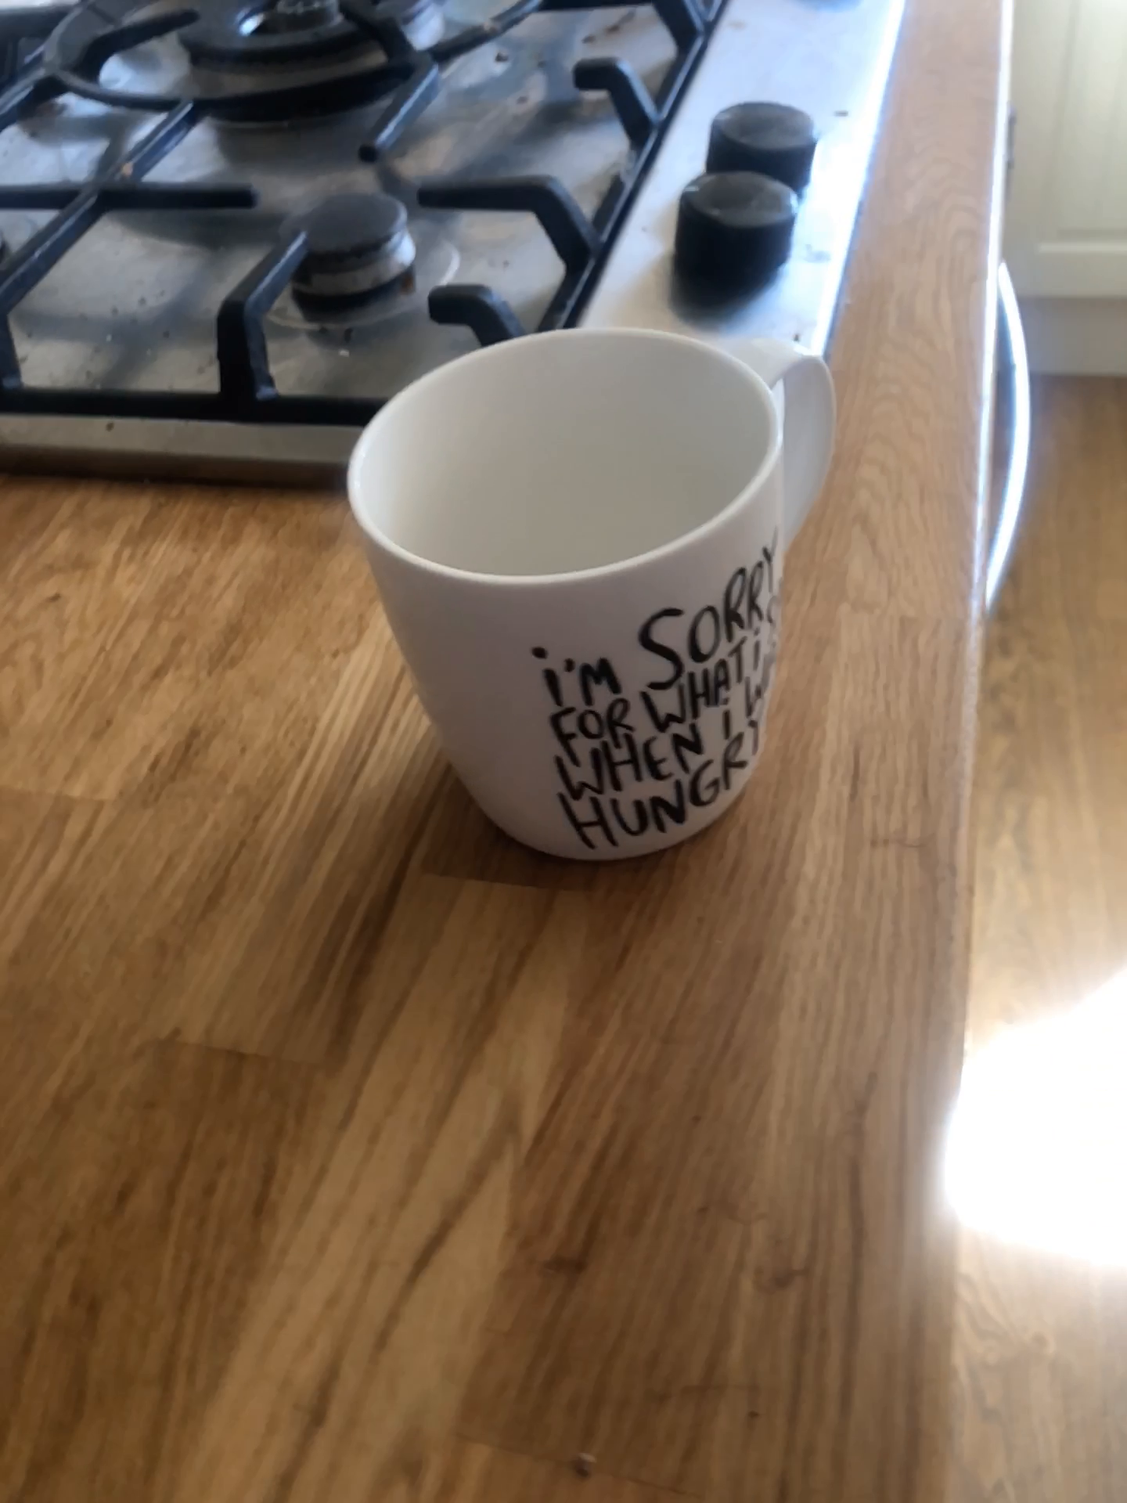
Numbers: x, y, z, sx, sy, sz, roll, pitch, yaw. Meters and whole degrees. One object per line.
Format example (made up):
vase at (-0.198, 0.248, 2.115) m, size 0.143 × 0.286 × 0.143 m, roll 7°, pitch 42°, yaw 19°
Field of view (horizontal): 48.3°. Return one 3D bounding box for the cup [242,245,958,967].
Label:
cup at (0.012, -0.038, 0.284) m, size 0.114 × 0.087 × 0.090 m, roll -38°, pitch 53°, yaw -24°
